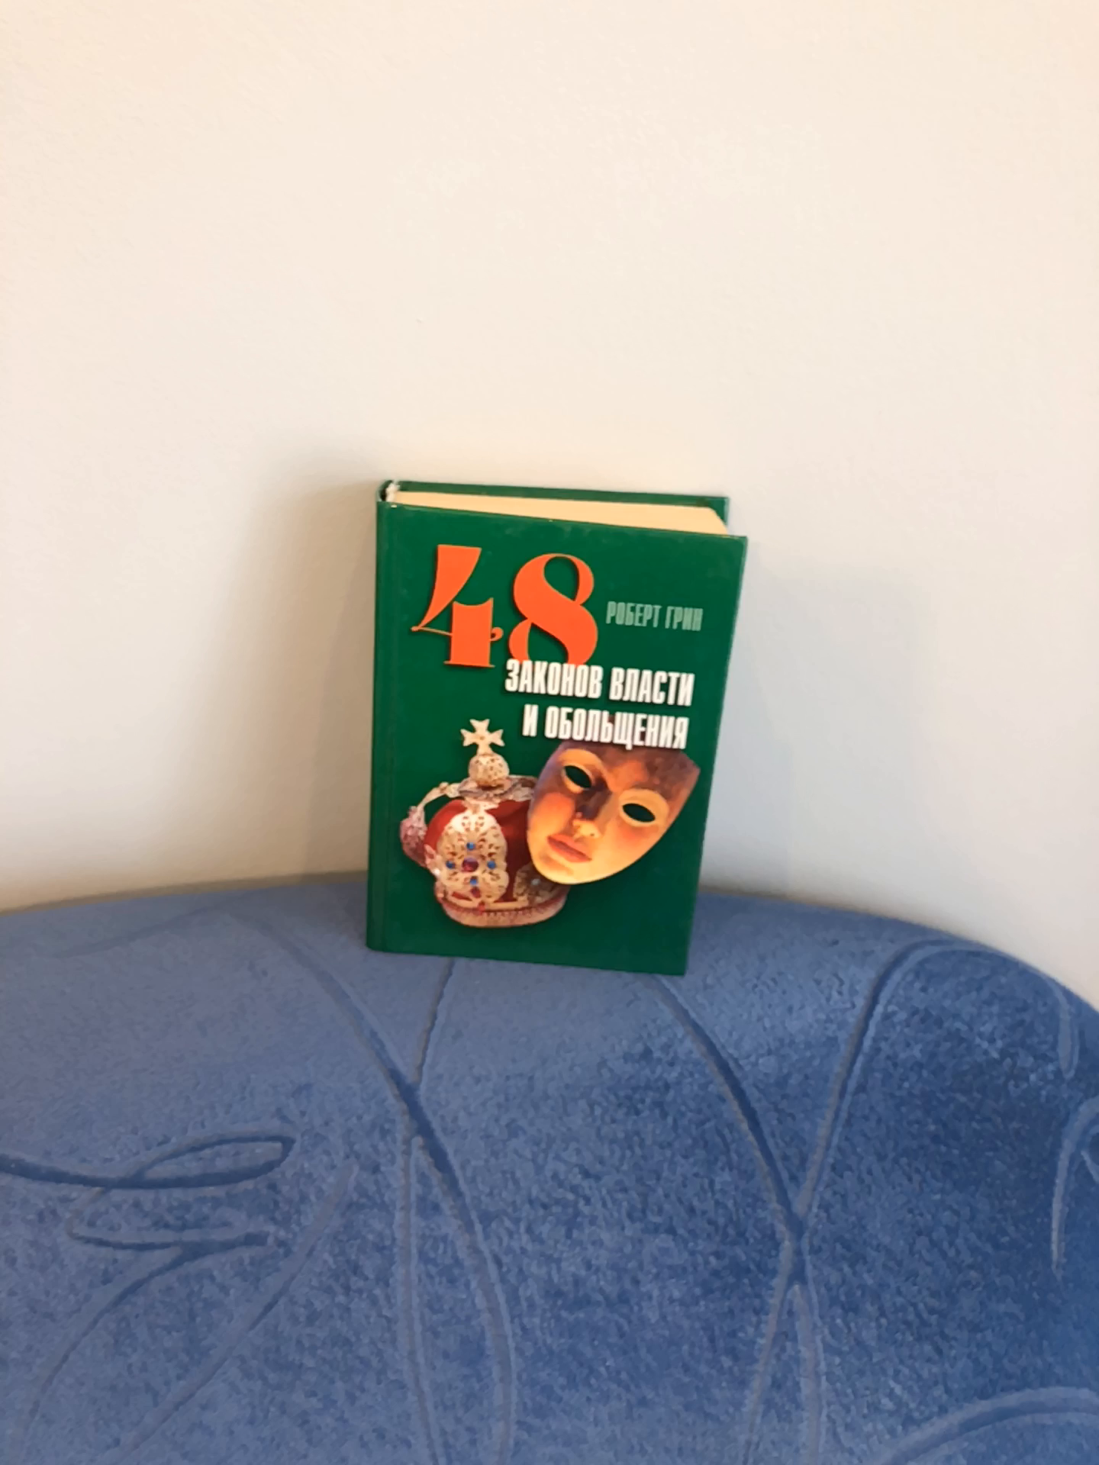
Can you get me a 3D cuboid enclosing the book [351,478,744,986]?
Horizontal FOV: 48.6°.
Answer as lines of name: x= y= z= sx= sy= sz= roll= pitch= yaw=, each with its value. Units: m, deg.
book: x=-0.003 y=0.000 z=0.378 sx=0.106 sy=0.141 sz=0.050 roll=5 pitch=22 yaw=3
